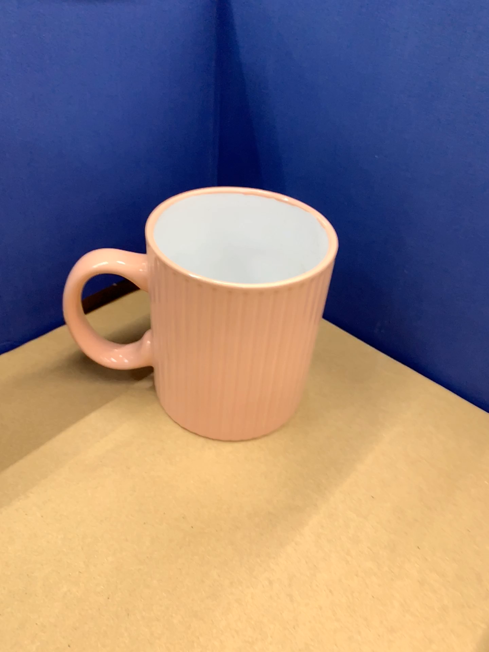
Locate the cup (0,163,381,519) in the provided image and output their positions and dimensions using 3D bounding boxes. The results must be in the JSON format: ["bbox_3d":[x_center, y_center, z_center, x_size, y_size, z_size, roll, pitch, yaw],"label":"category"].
[{"bbox_3d":[-0.039,0.006,0.242,0.154,0.128,0.102,2,30,-6],"label":"cup"}]
